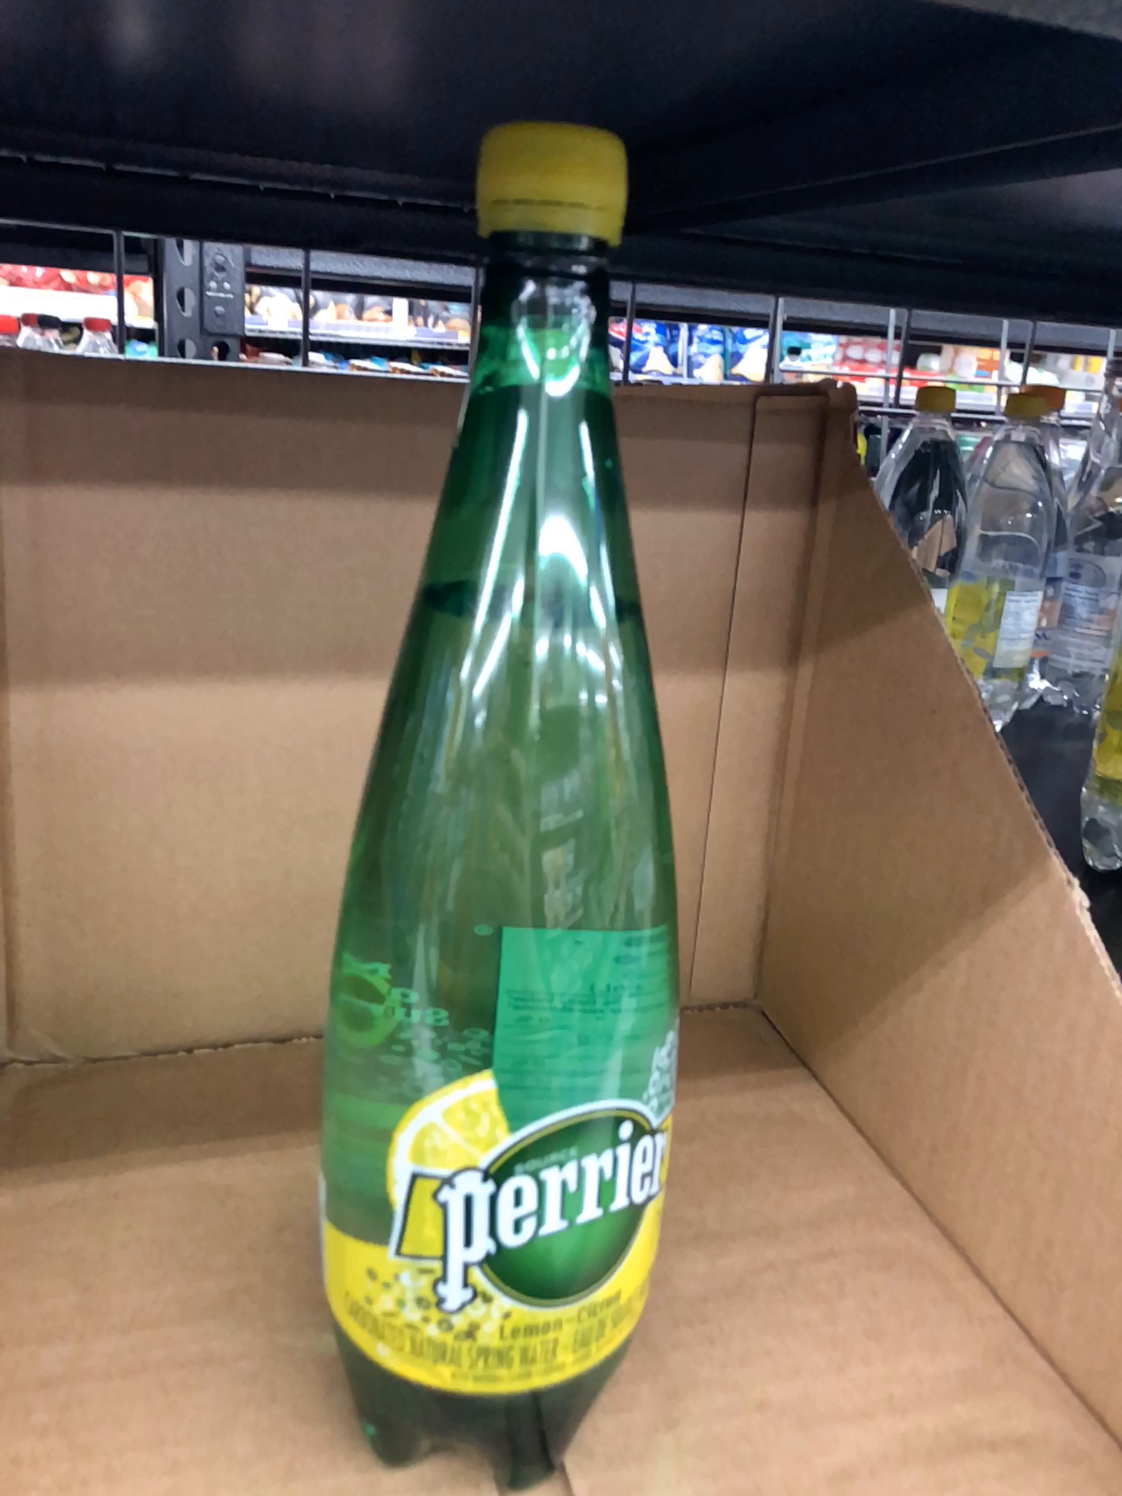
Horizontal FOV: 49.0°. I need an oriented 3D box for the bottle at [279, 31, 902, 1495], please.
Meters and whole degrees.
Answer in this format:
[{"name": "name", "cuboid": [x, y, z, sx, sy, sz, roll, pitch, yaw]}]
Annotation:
[{"name": "bottle", "cuboid": [-0.008, 0.025, 0.293, 0.100, 0.318, 0.080, -3, 17, -23]}]
